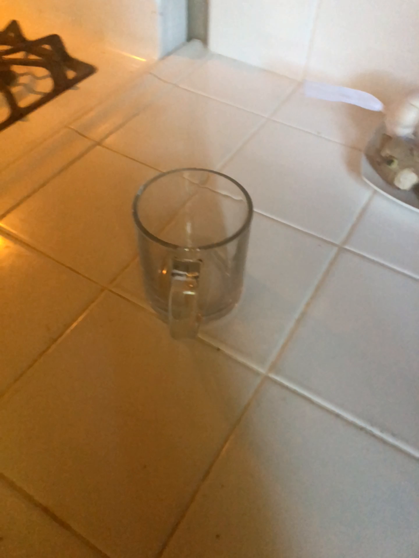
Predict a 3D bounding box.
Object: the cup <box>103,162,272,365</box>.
[{"bbox_3d":[-0.014,-0.013,0.346,0.100,0.079,0.131,0,52,-1],"label":"cup"}]
